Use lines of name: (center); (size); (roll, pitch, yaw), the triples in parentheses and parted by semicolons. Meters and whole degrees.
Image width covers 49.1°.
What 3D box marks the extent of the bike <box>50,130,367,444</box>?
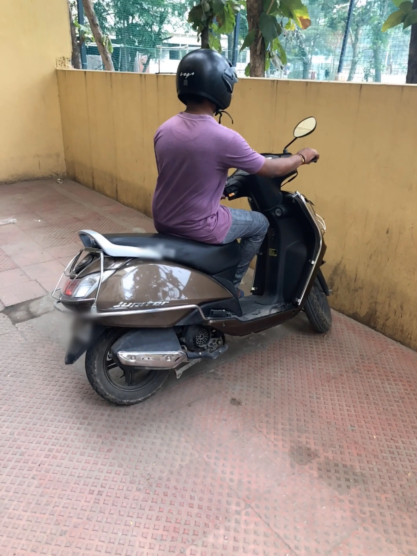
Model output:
bike: (0.088, -0.135, 2.594); (1.717, 1.182, 0.646); (-19, 31, -39)
